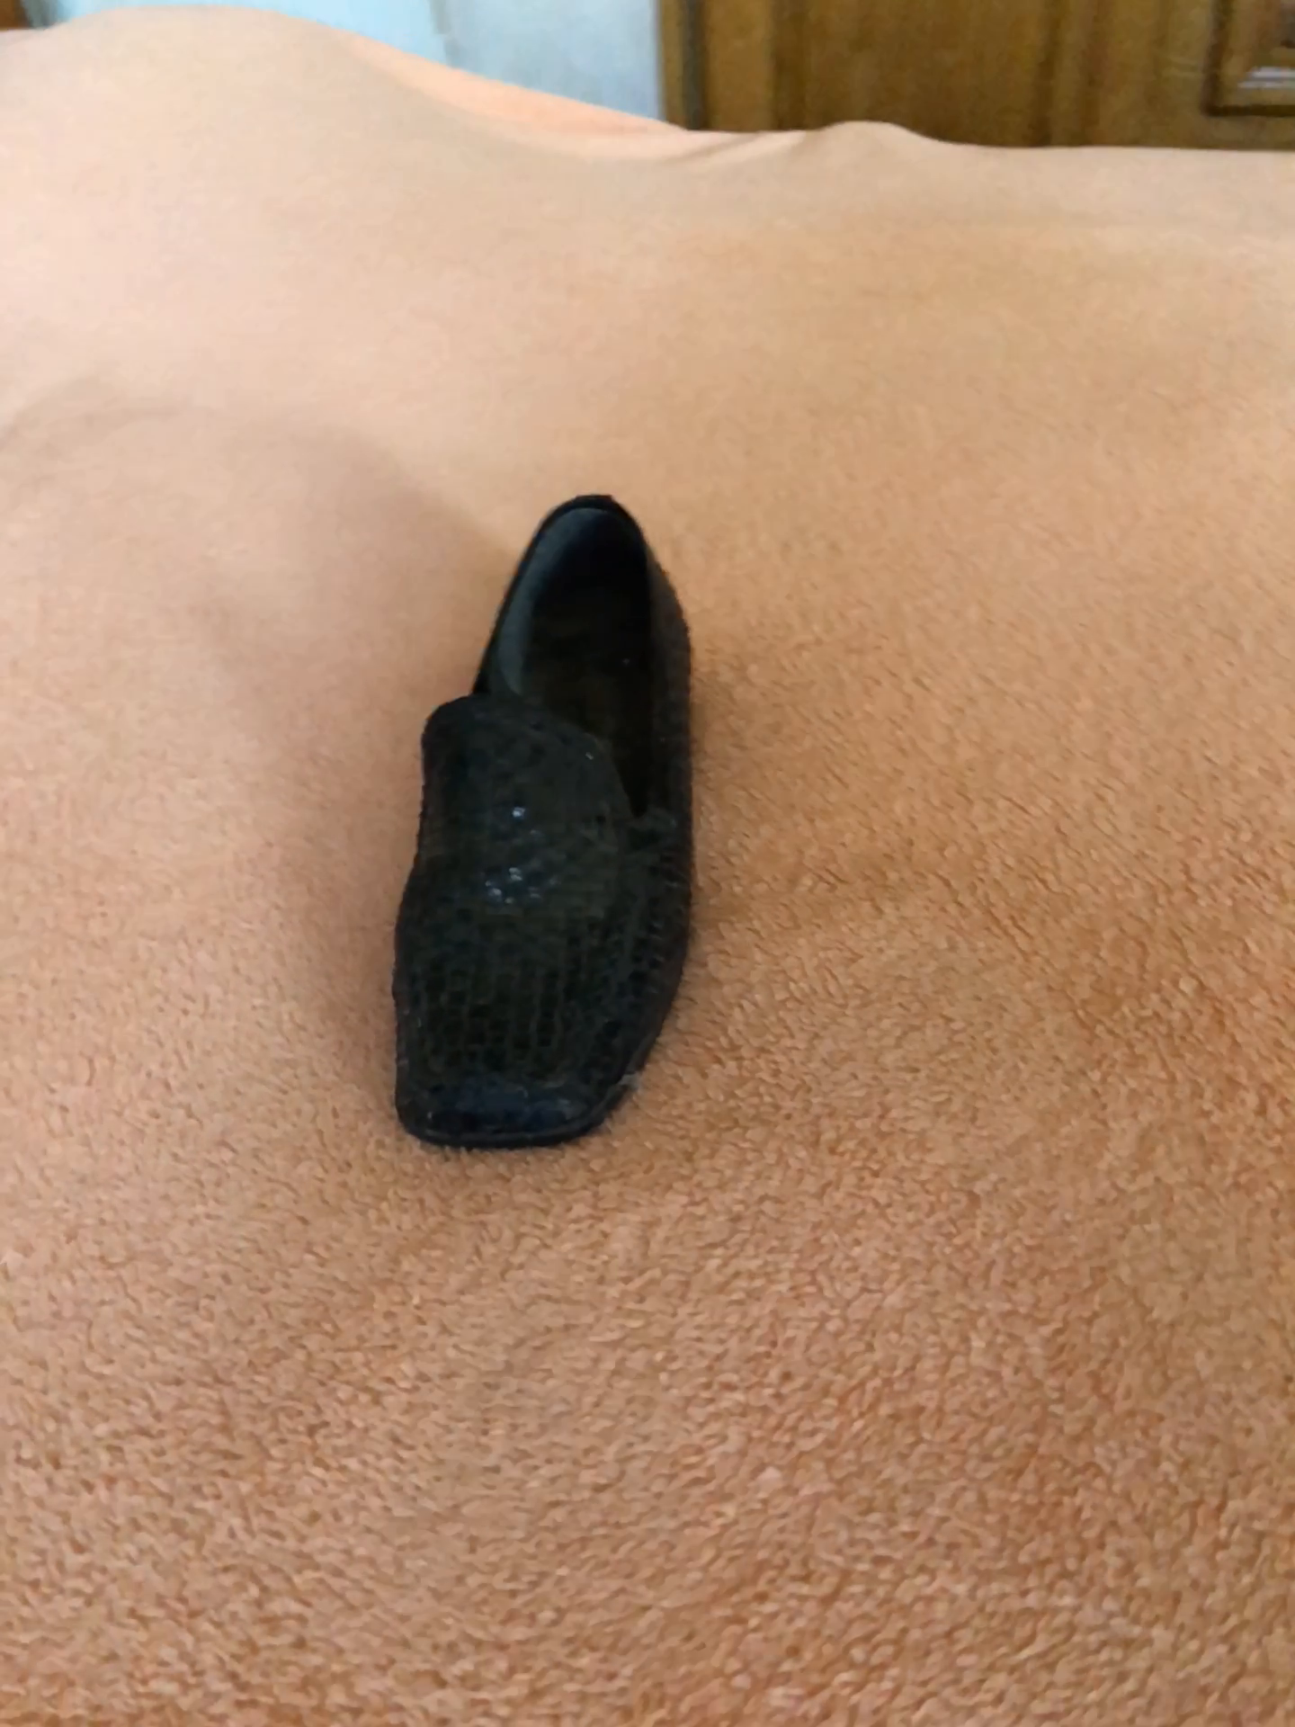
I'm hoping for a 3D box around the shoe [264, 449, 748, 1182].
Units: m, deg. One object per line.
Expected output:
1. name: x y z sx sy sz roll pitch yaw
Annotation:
1. shoe: -0.025 -0.035 0.469 0.100 0.089 0.272 0 40 8
